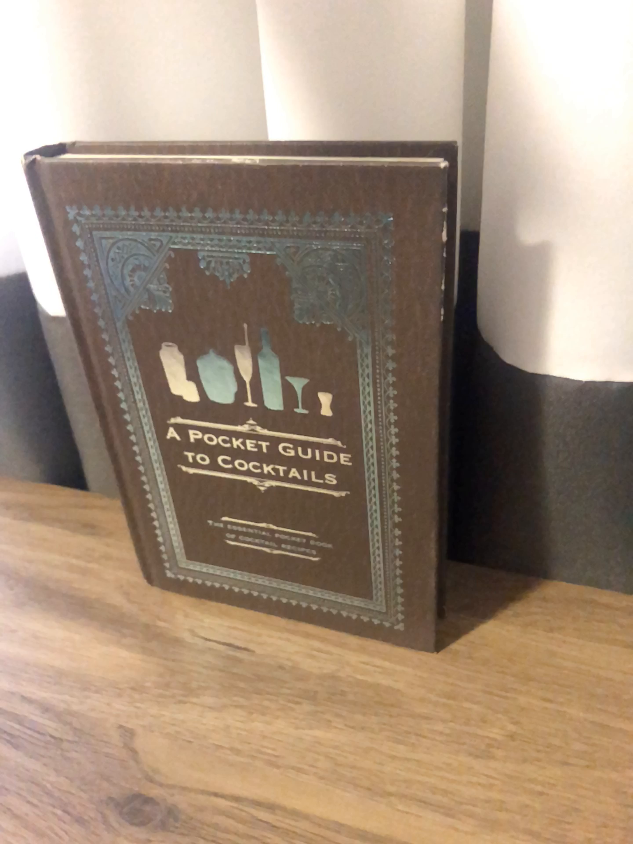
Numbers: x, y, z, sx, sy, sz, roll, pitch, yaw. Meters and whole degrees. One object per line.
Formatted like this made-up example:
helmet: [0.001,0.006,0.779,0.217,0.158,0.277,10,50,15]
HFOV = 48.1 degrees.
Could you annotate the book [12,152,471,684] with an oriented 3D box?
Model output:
book: [-0.018,0.008,0.260,0.136,0.199,0.022,8,36,19]
